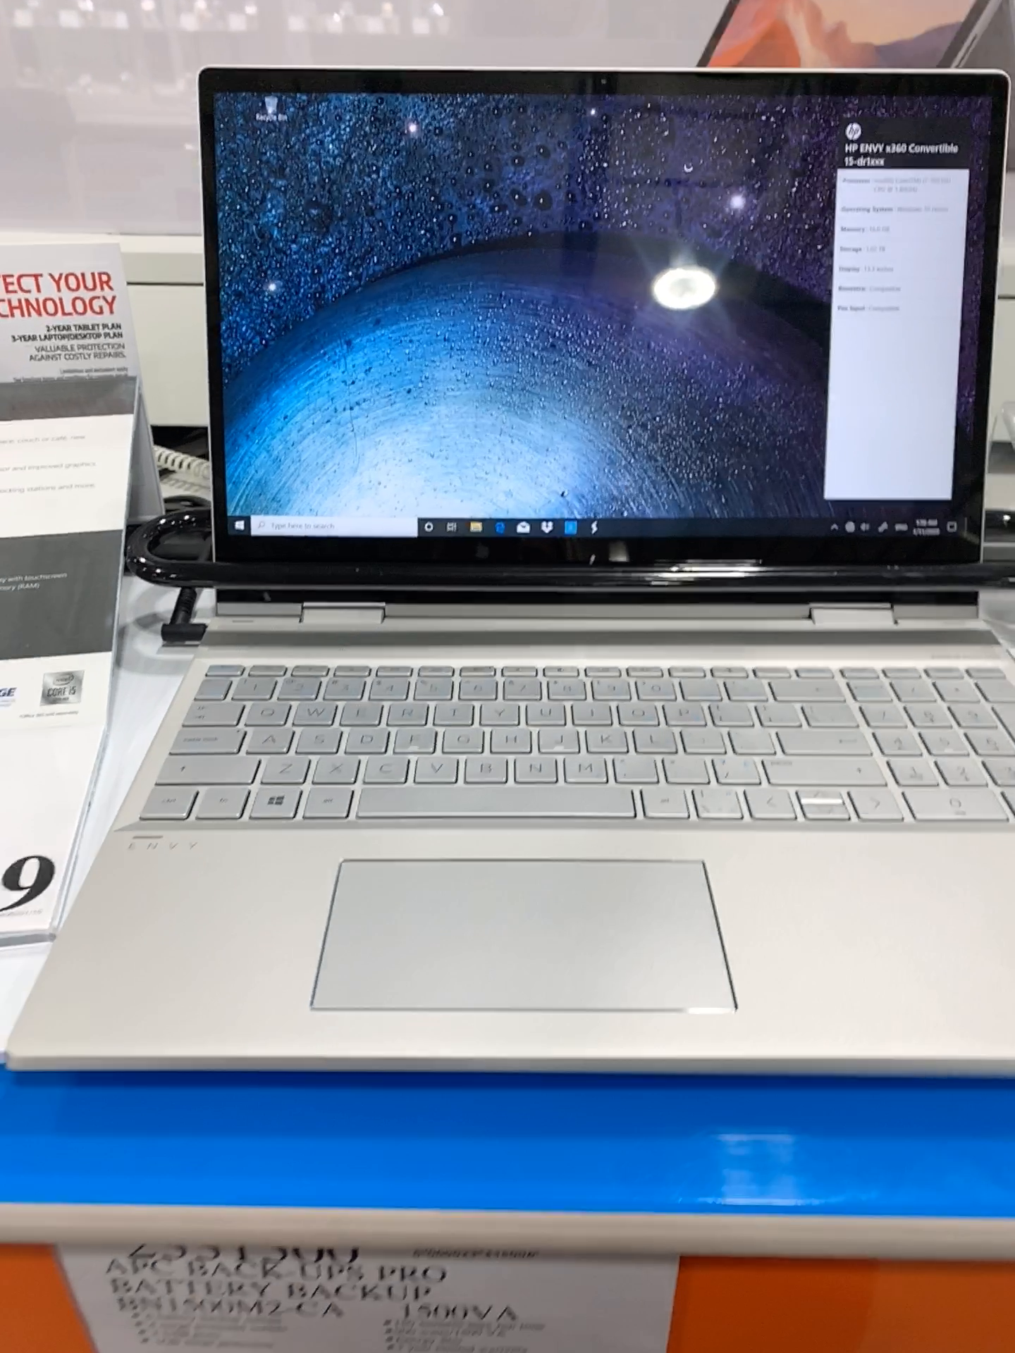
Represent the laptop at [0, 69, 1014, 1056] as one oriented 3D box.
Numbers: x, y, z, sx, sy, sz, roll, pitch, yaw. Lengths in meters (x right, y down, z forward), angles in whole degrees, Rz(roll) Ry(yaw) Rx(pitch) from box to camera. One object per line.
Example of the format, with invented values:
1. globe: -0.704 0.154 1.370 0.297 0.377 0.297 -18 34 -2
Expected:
1. laptop: 0.038 -0.081 0.363 0.346 0.209 0.341 0 32 -1
